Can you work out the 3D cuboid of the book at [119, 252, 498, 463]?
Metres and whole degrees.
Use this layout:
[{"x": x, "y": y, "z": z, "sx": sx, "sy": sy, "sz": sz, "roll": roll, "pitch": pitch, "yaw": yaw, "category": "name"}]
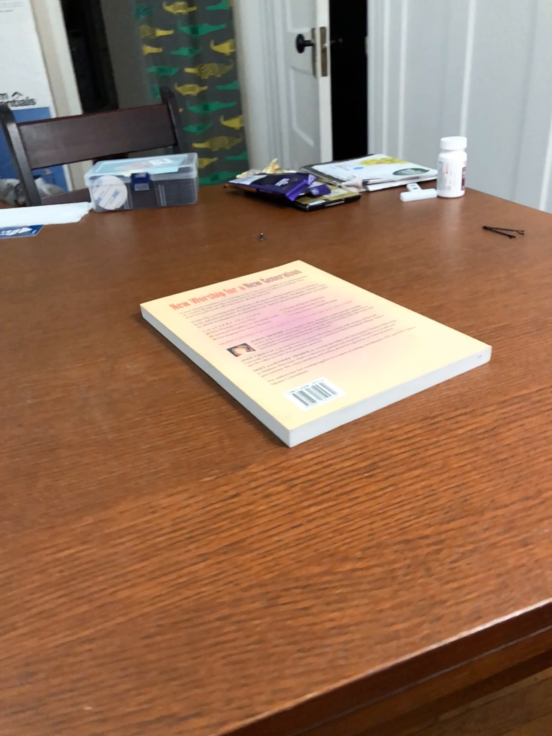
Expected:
[{"x": 0.009, "y": -0.033, "z": 0.506, "sx": 0.190, "sy": 0.020, "sz": 0.271, "roll": -21, "pitch": 33, "yaw": -27, "category": "book"}]
